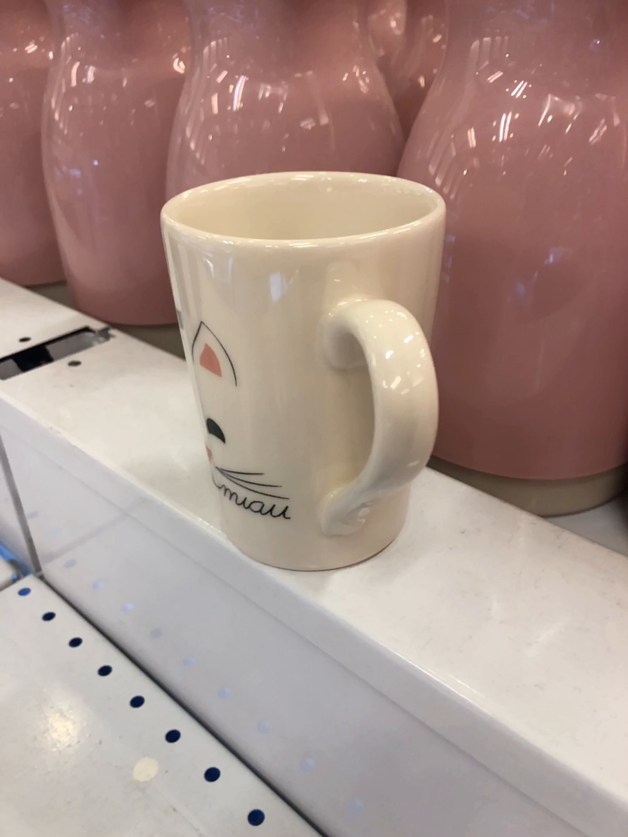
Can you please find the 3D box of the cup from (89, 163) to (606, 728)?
[{"bbox_3d":[0.001,-0.006,0.197,0.080,0.099,0.111,-18,34,-25],"label":"cup"}]
